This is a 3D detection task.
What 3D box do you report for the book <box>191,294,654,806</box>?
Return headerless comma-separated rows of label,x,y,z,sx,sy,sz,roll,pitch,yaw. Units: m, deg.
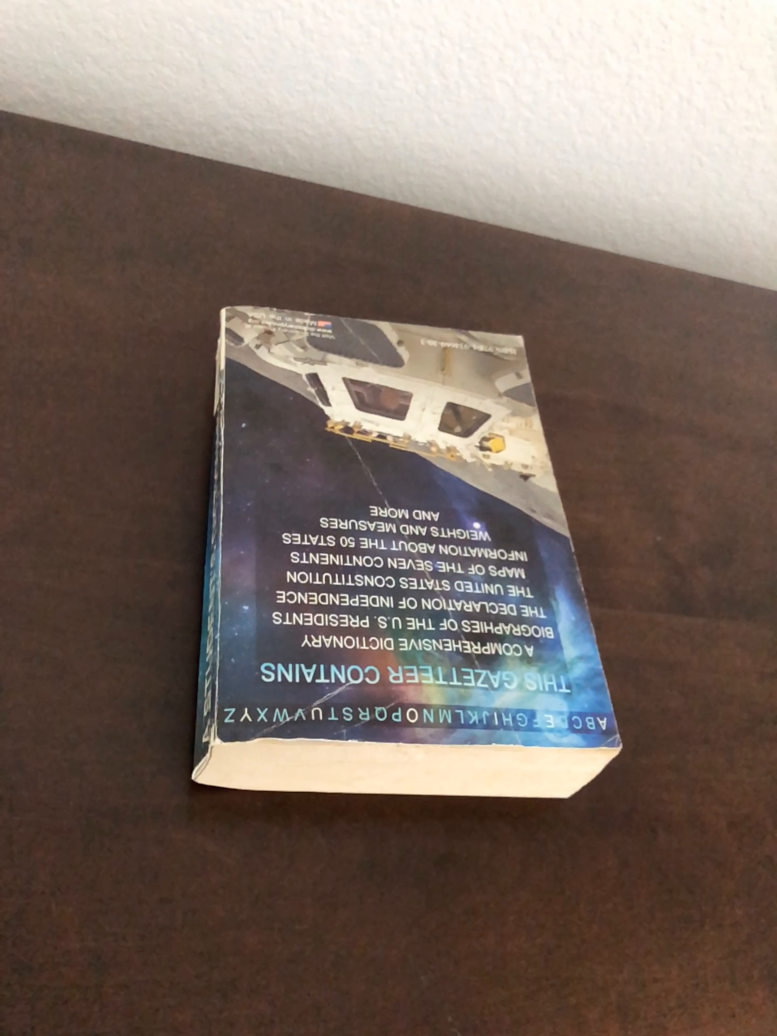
book,0.004,0.004,0.328,0.140,0.040,0.196,4,54,-11
